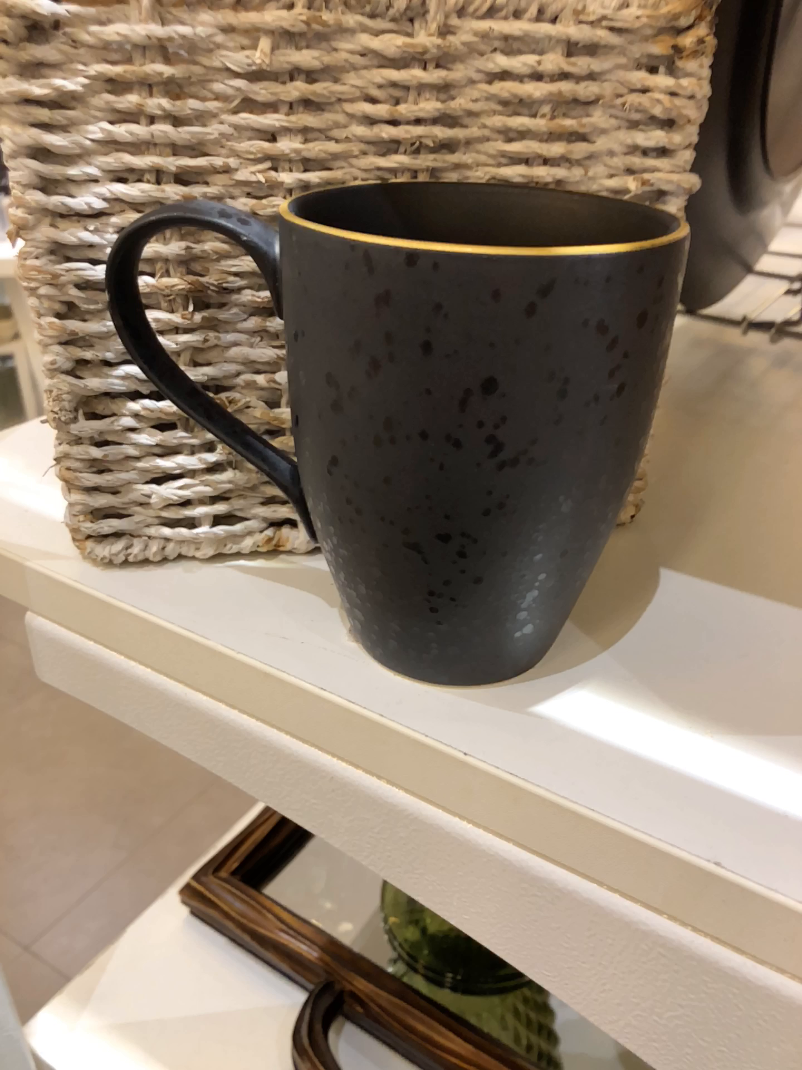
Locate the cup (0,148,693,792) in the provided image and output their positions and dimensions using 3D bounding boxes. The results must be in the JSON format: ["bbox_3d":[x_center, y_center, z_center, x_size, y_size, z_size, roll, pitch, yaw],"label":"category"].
[{"bbox_3d":[-0.011,-0.026,0.197,0.120,0.099,0.080,12,31,22],"label":"cup"}]
